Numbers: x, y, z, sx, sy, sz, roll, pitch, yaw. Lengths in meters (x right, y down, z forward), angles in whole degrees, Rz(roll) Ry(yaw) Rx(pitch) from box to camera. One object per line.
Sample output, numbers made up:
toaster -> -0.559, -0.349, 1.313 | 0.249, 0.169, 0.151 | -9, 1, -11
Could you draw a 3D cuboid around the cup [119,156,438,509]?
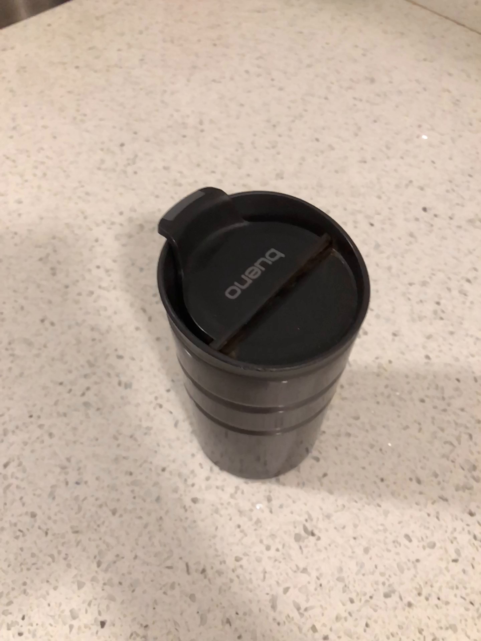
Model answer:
cup -> 0.009, 0.011, 0.232 | 0.086, 0.116, 0.085 | -1, 56, 1
